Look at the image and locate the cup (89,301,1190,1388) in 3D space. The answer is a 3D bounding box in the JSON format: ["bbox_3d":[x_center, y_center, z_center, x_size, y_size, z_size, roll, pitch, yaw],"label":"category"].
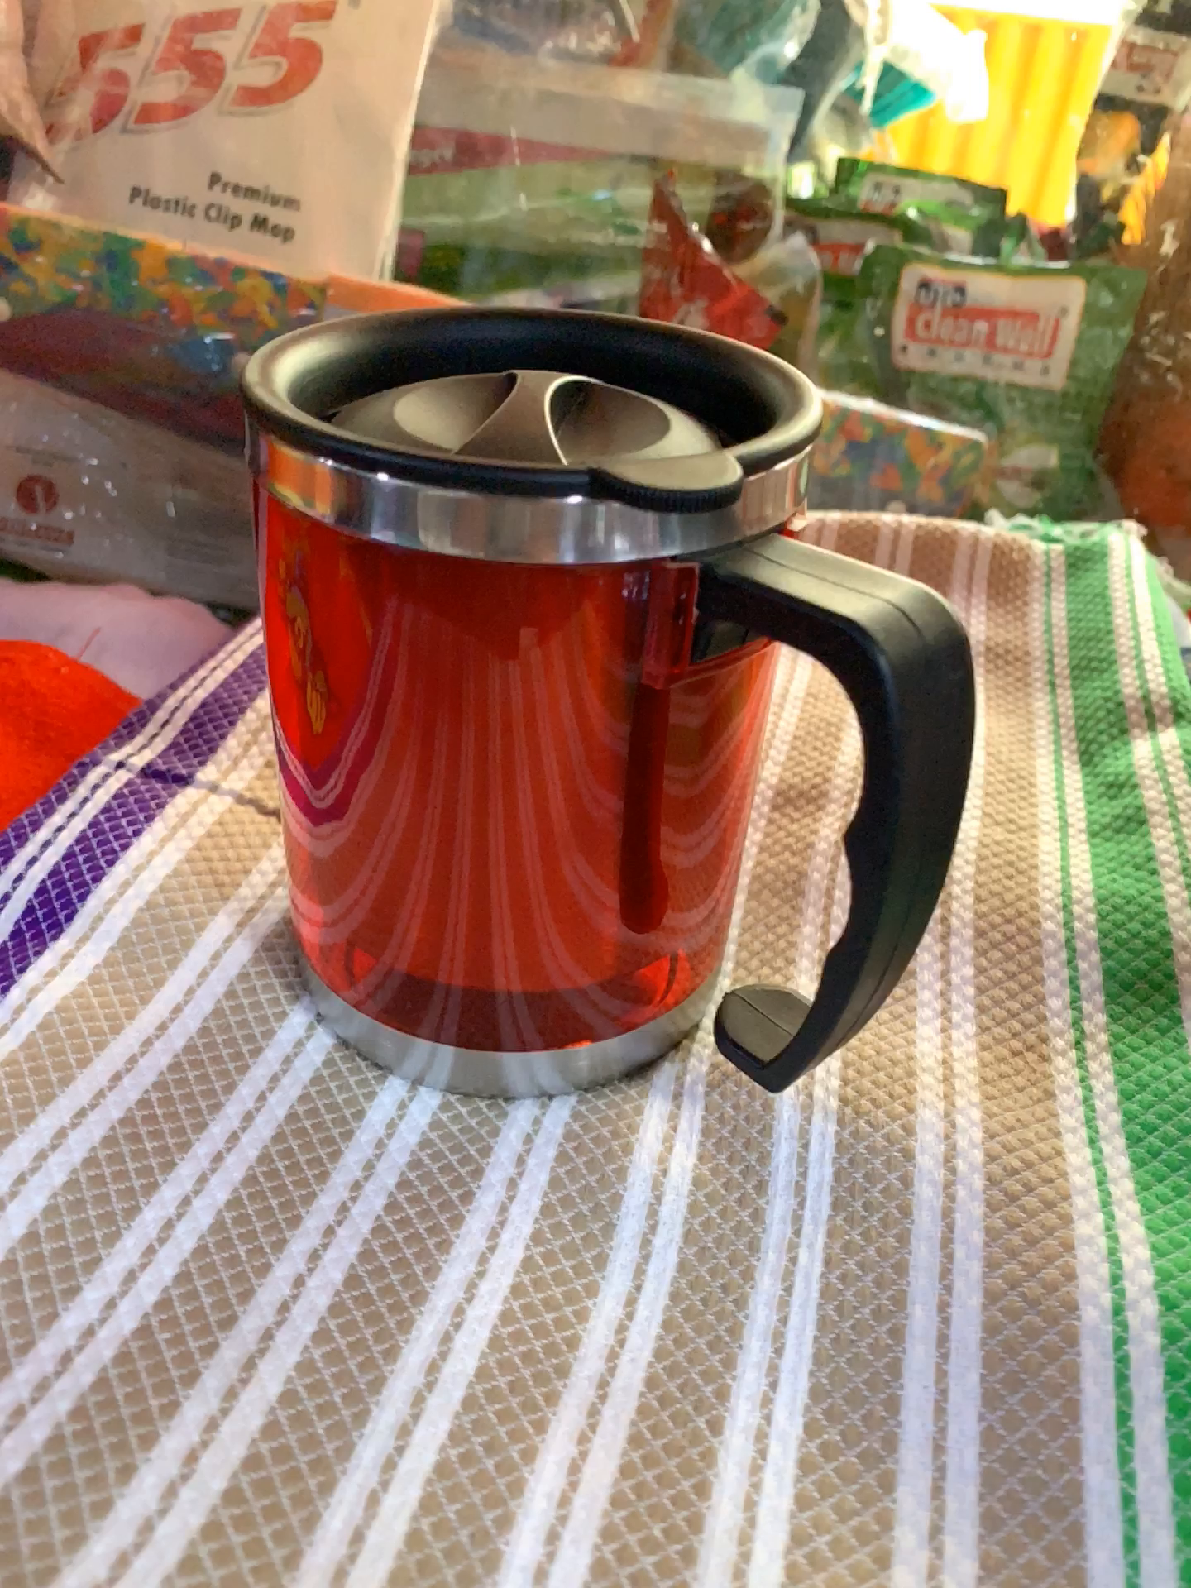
[{"bbox_3d":[0.003,-0.010,0.204,0.130,0.102,0.100,30,39,33],"label":"cup"}]
